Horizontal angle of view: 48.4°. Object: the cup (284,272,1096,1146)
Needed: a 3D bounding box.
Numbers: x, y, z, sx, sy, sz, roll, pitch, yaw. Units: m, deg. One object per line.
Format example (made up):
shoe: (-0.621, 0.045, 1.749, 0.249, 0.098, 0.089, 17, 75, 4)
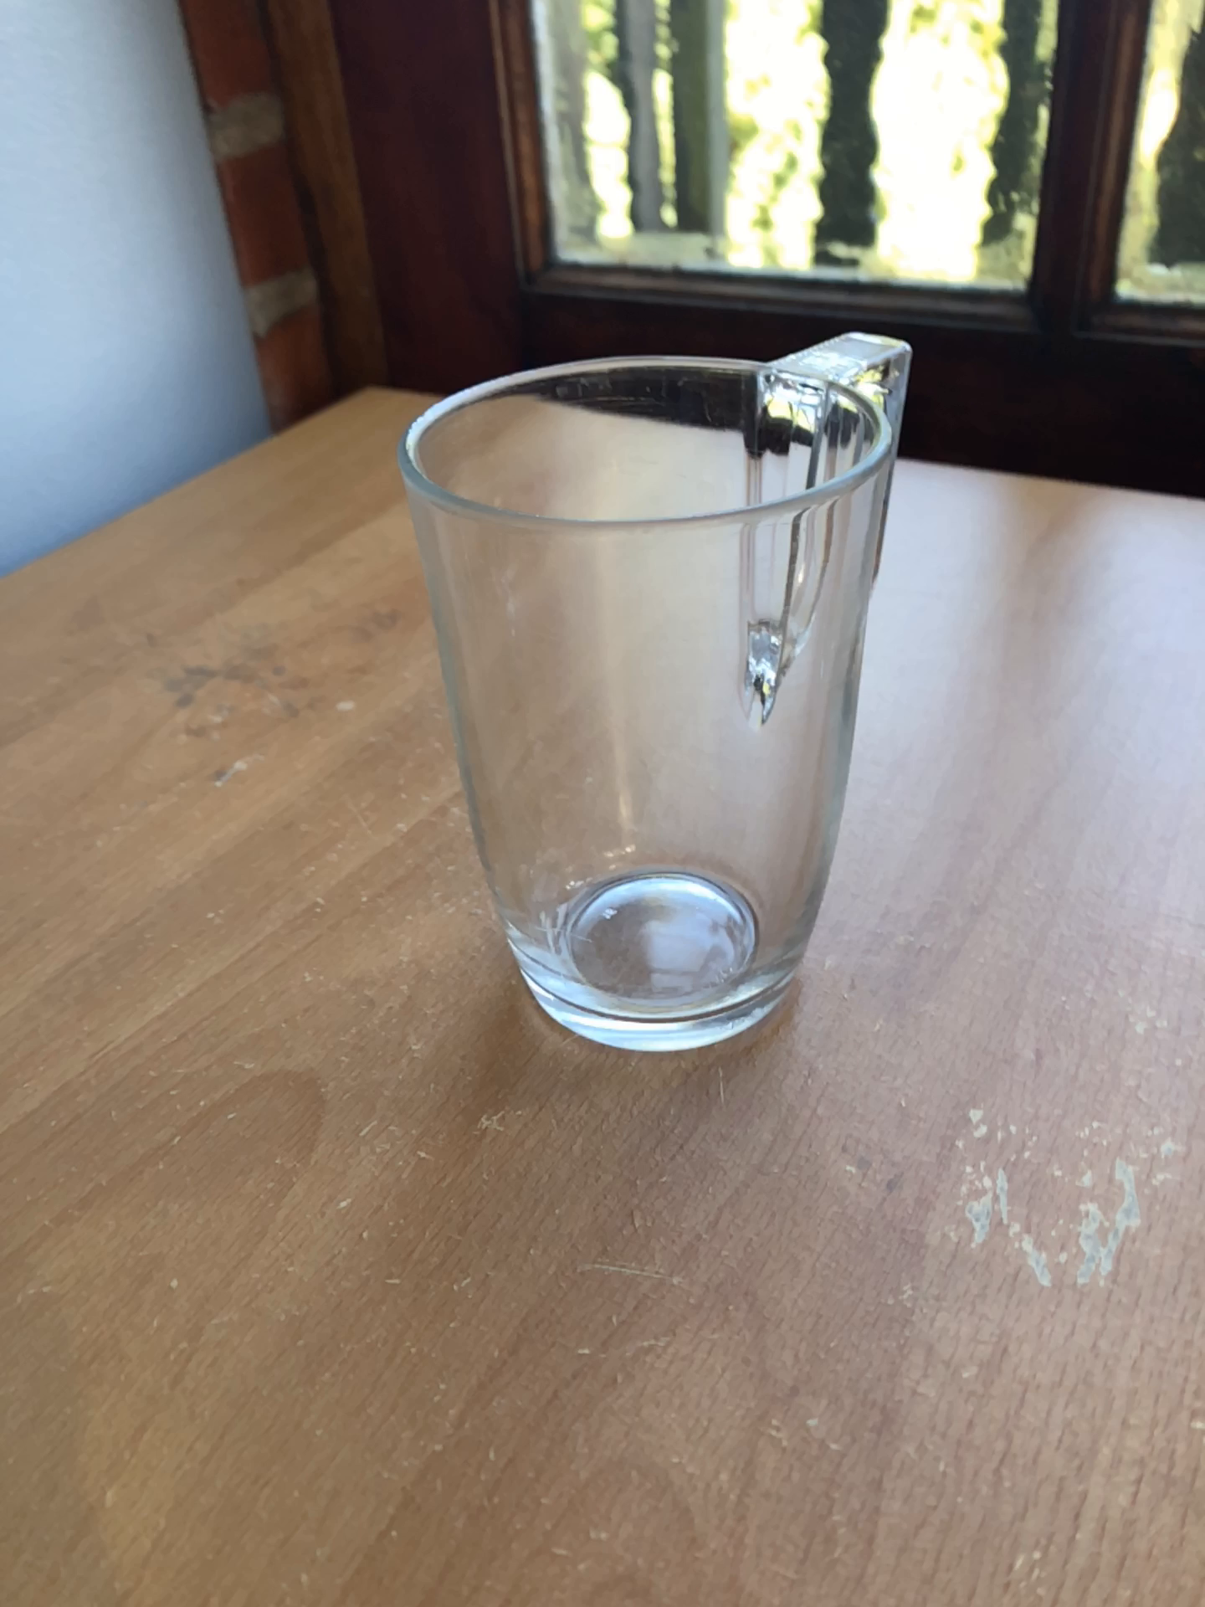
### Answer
cup: (0.019, -0.024, 0.240, 0.104, 0.103, 0.078, -32, 43, -33)
